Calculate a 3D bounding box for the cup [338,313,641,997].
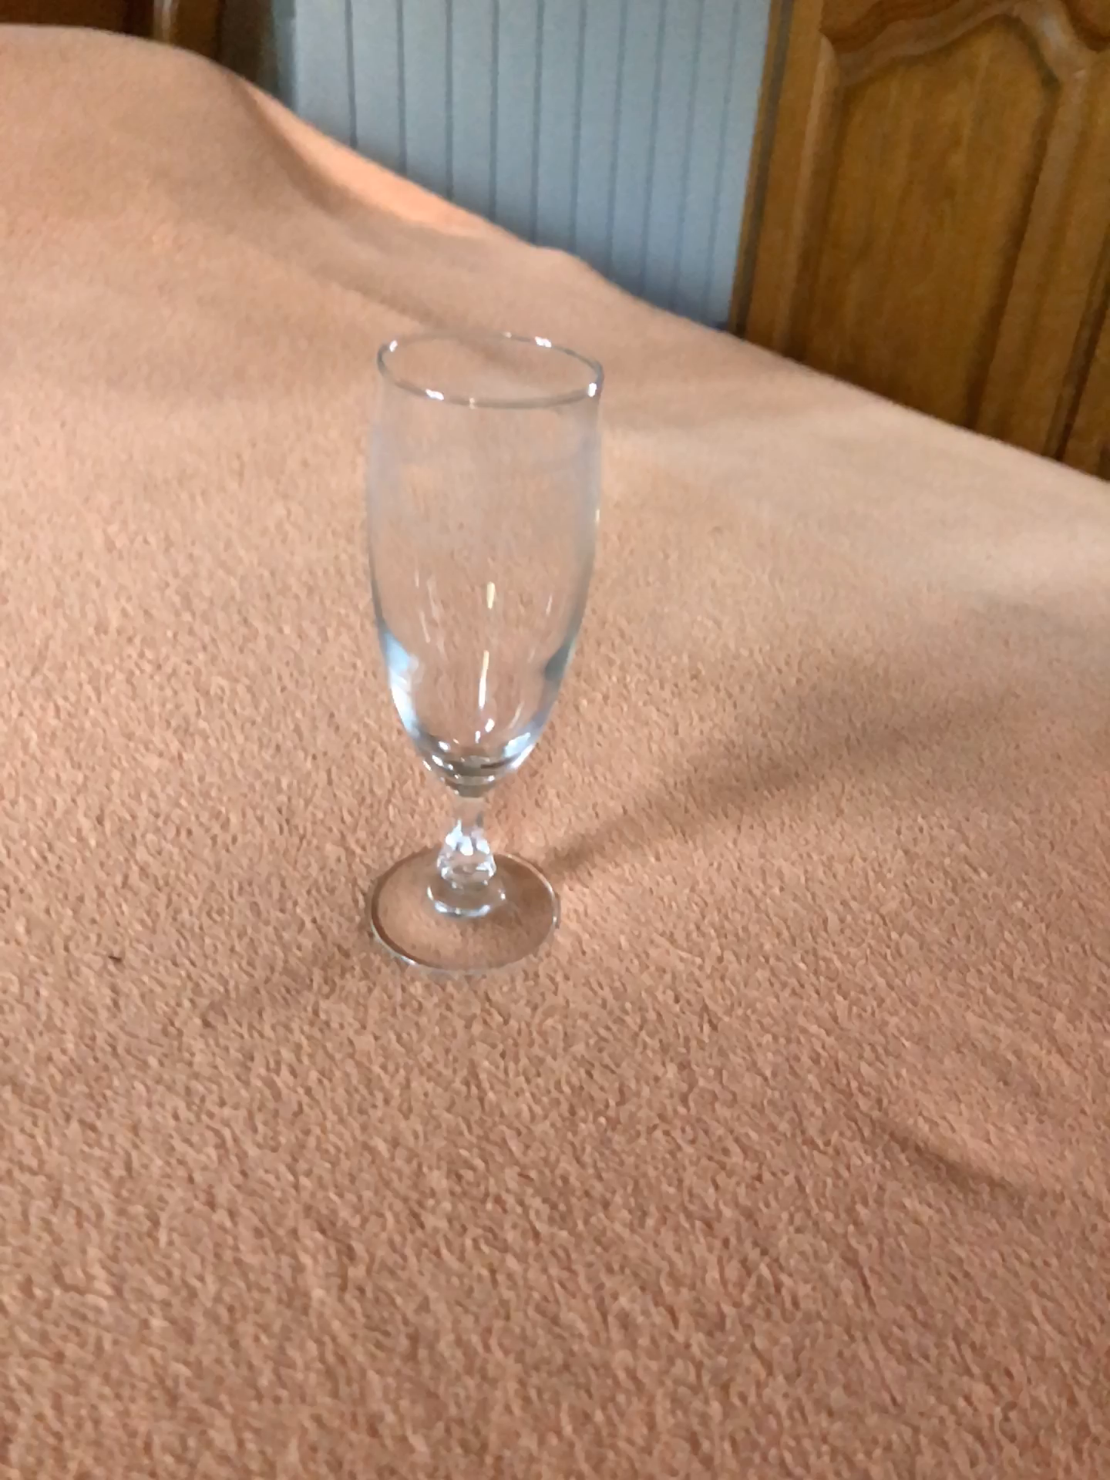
[{"bbox_3d":[-0.017,-0.018,0.315,0.060,0.159,0.060,3,31,-2],"label":"cup"}]
